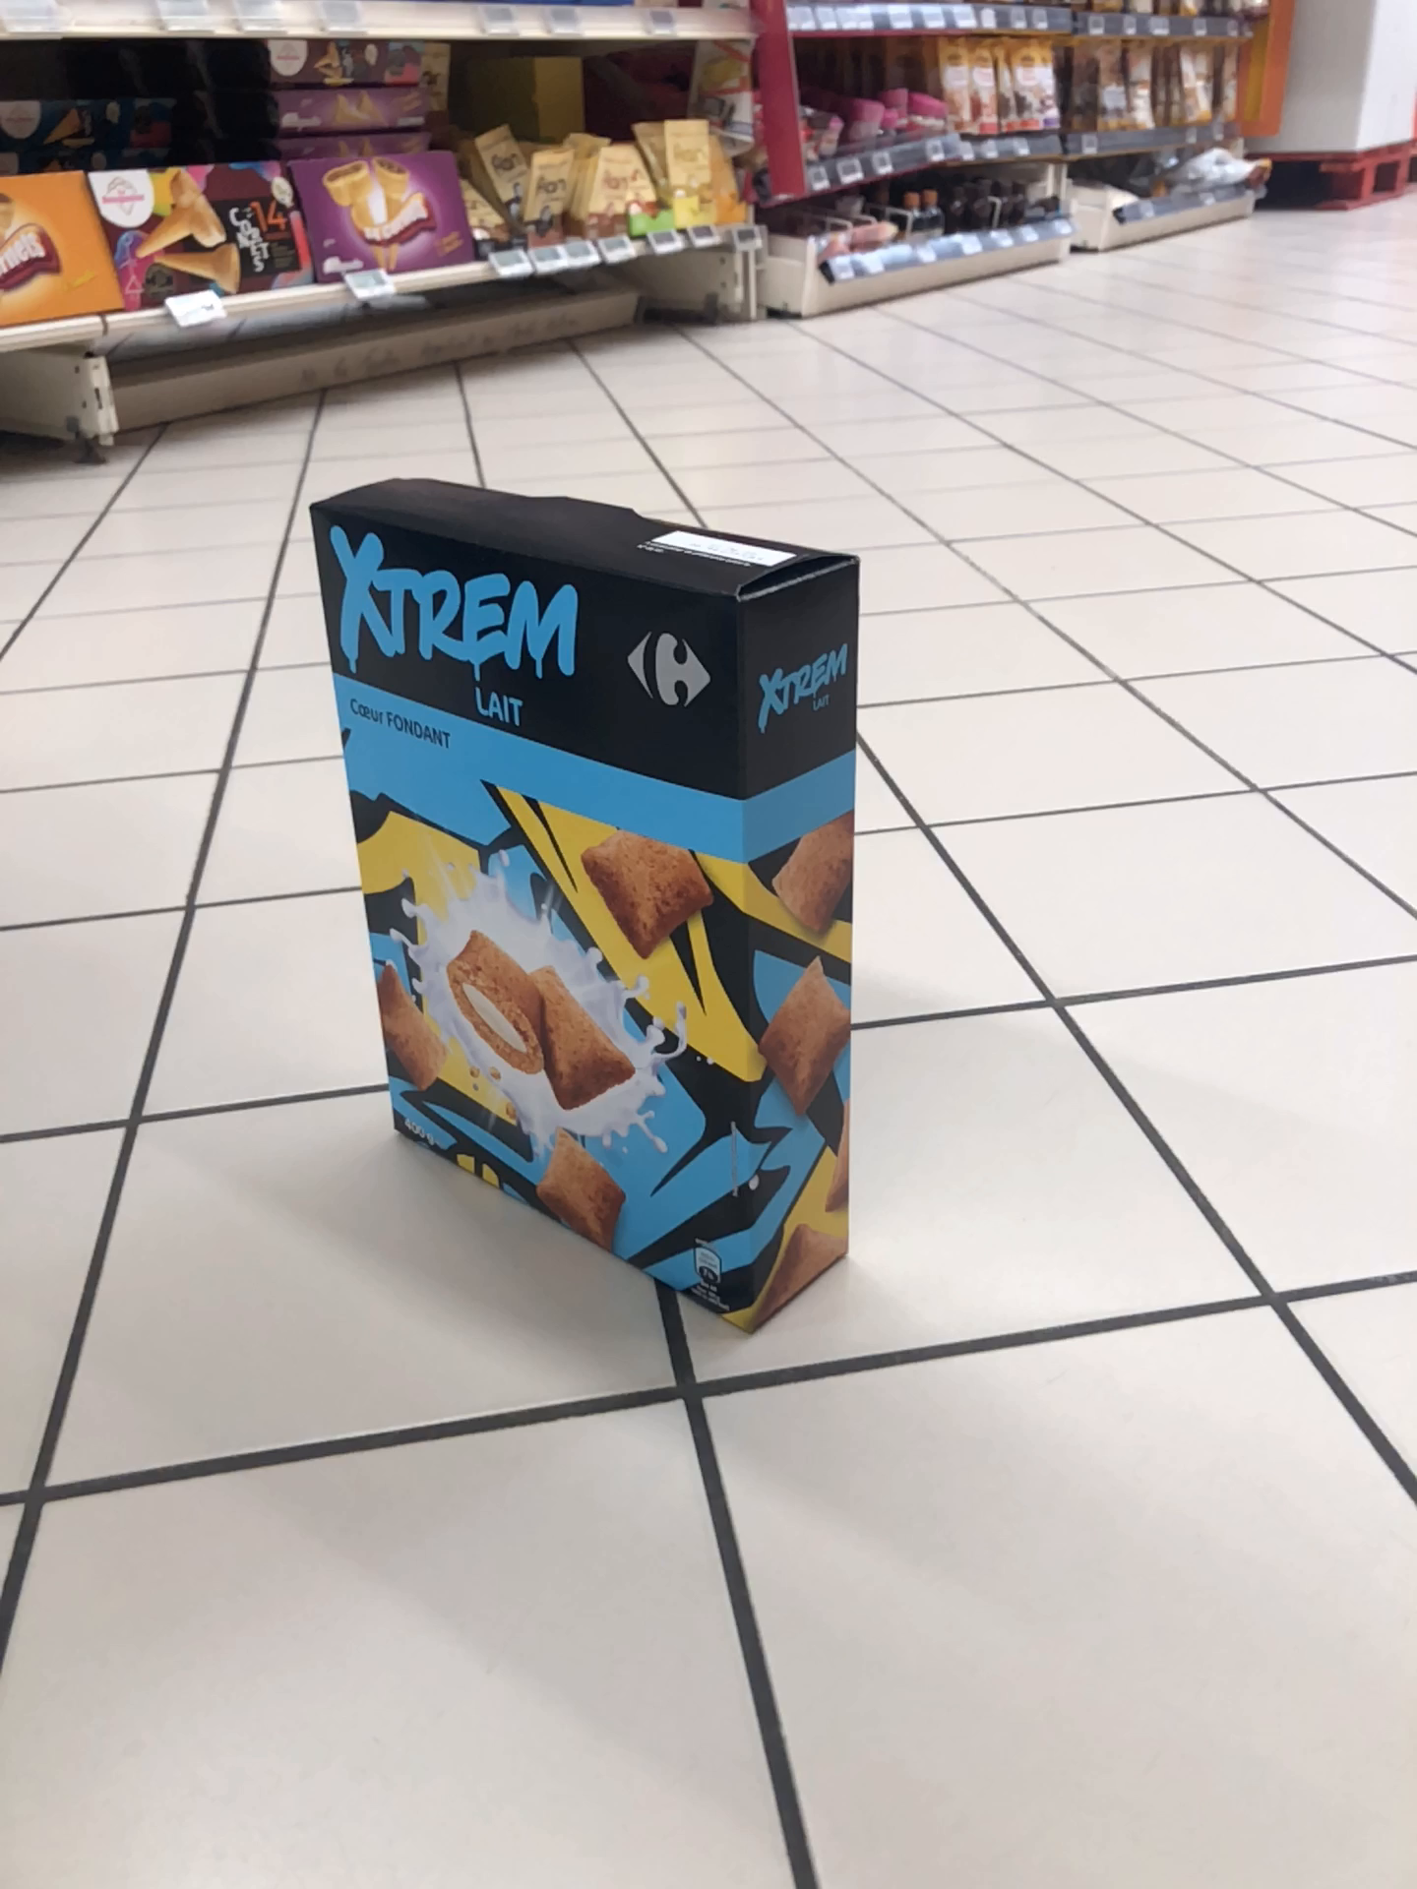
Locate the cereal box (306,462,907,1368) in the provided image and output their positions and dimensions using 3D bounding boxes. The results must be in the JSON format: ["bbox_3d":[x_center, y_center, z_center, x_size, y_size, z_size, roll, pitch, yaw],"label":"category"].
[{"bbox_3d":[-0.034,-0.016,0.532,0.200,0.259,0.060,21,36,38],"label":"cereal box"}]
